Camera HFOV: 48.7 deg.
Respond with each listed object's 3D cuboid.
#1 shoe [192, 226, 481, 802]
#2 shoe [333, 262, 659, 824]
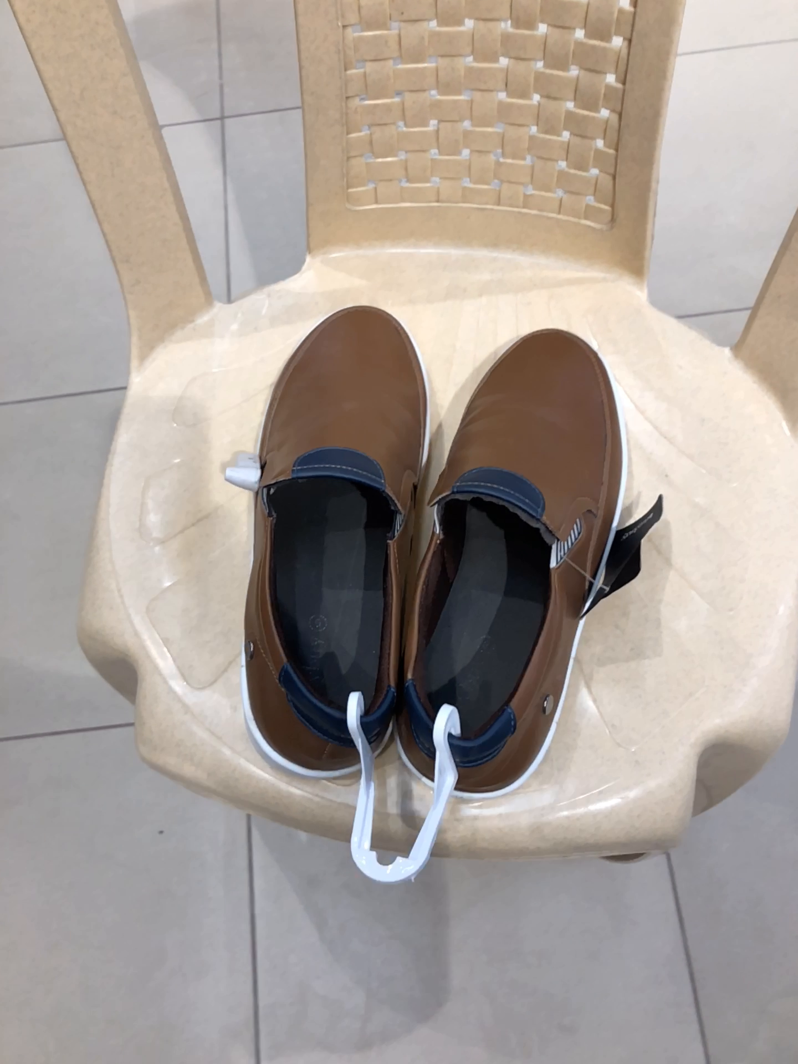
[{"bbox_3d":[-0.028,-0.008,0.463,0.105,0.099,0.271,12,65,-17],"label":"shoe"},{"bbox_3d":[0.063,-0.001,0.471,0.104,0.099,0.271,9,67,16],"label":"shoe"}]
